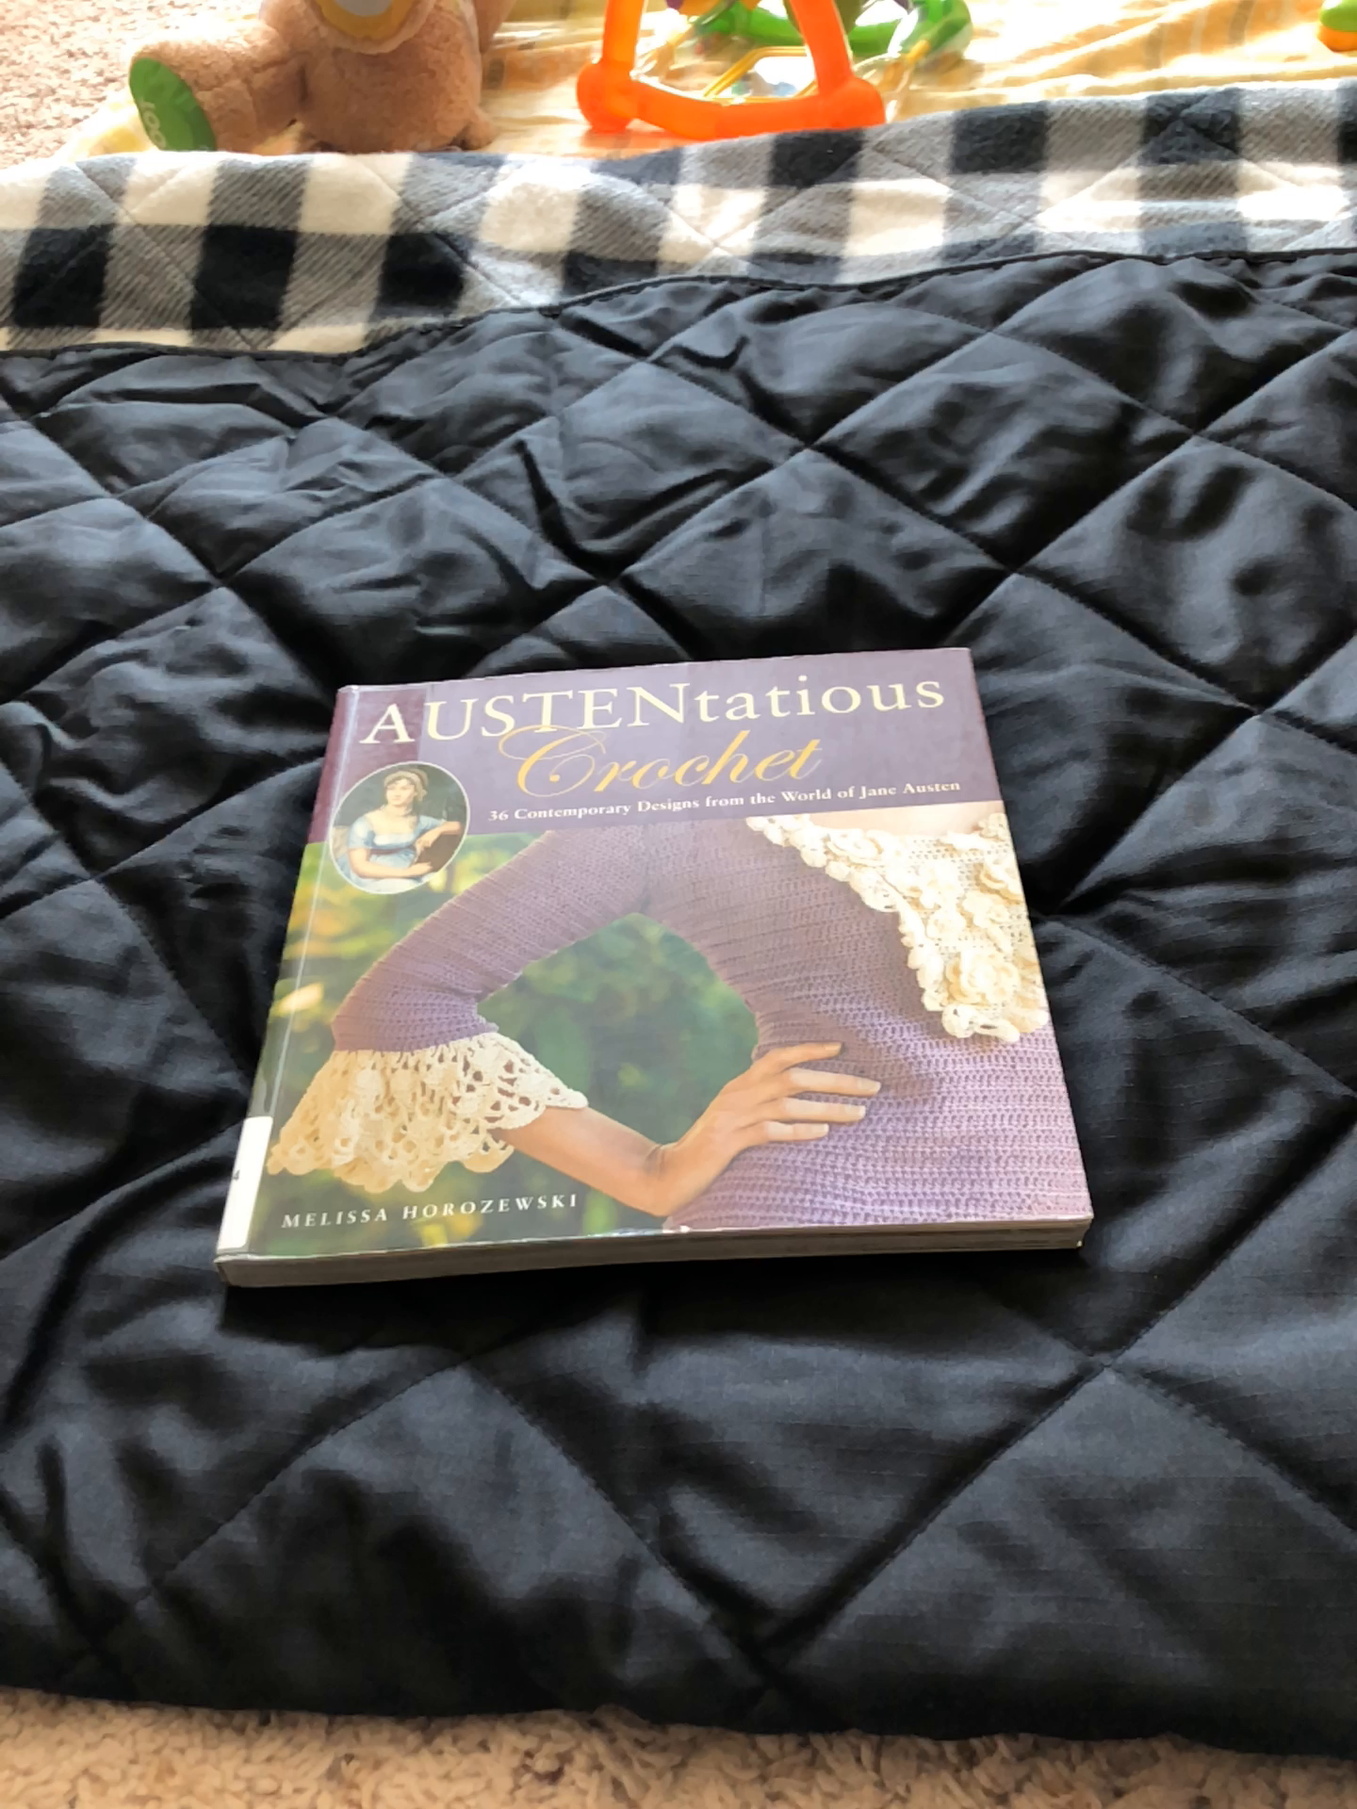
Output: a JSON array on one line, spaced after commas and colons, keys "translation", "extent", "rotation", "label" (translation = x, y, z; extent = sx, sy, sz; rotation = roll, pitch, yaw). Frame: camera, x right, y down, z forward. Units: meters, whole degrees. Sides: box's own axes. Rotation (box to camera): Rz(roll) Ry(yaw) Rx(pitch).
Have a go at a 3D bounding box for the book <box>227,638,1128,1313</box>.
[{"translation": [-0.002, 0.007, 0.451], "extent": [0.220, 0.020, 0.230], "rotation": [-4, 47, 4], "label": "book"}]
